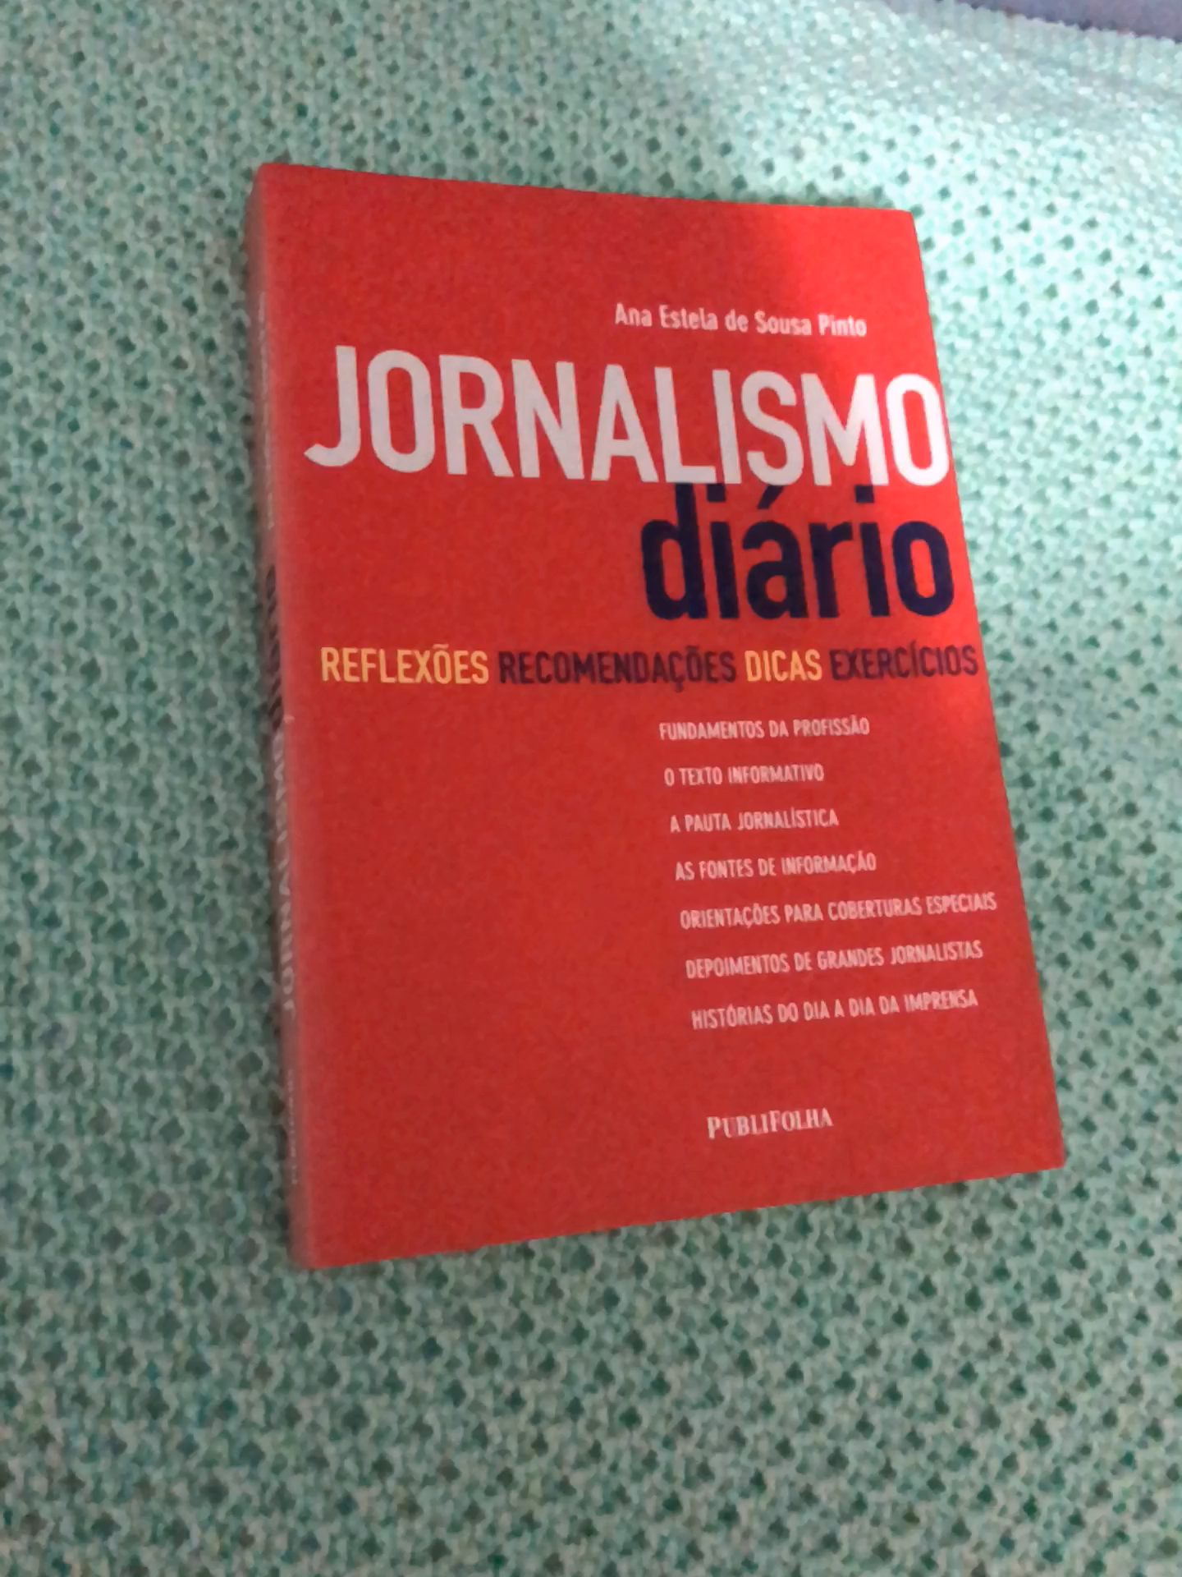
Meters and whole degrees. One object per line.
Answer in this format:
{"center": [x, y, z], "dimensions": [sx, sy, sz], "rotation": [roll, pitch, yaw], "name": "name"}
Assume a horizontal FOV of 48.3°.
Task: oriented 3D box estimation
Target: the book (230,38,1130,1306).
{"center": [0.011, -0.035, 0.279], "dimensions": [0.160, 0.030, 0.250], "rotation": [-3, 77, -12], "name": "book"}
